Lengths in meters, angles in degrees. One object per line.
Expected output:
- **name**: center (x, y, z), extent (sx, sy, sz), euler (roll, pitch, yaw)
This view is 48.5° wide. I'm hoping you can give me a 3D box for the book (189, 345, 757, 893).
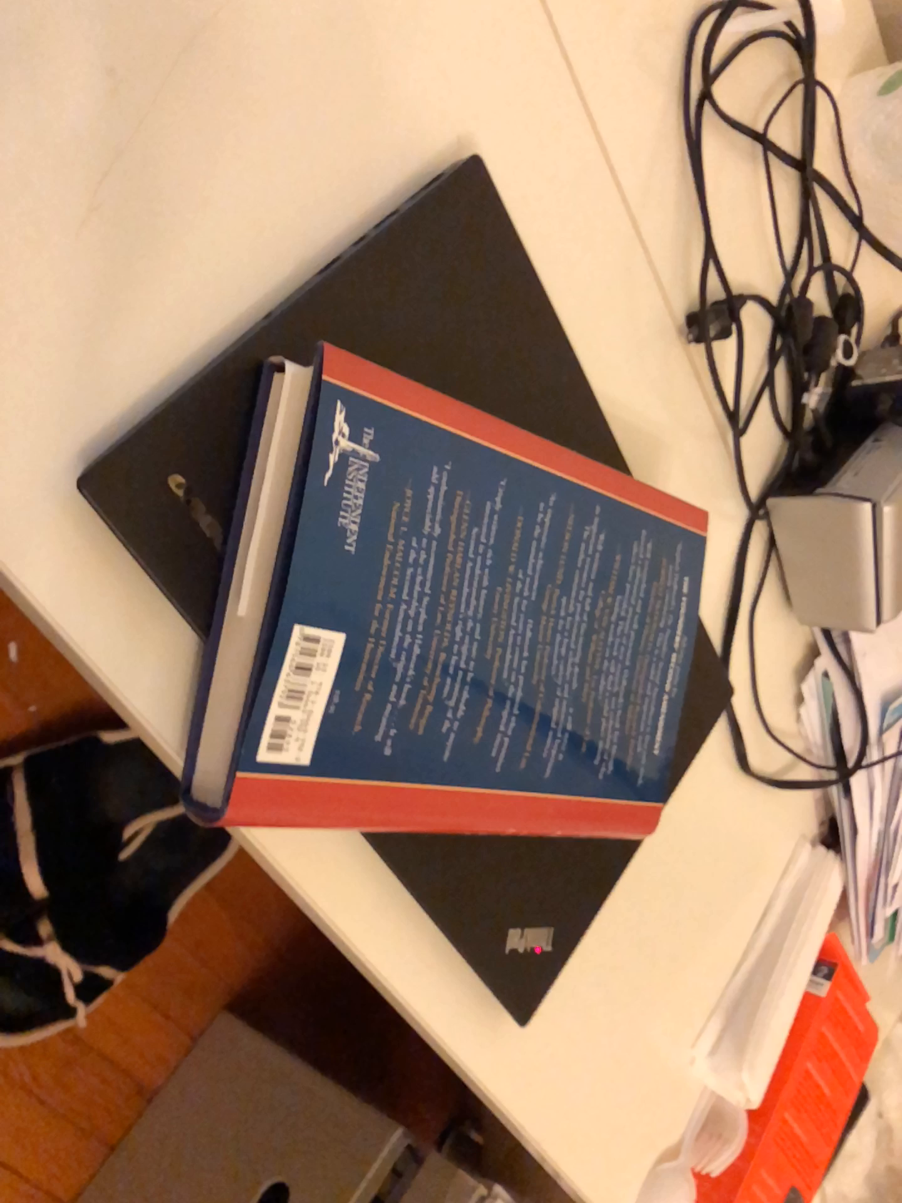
- **book**: center (0.030, 0.025, 0.402), extent (0.241, 0.040, 0.170), euler (15, 81, -41)
